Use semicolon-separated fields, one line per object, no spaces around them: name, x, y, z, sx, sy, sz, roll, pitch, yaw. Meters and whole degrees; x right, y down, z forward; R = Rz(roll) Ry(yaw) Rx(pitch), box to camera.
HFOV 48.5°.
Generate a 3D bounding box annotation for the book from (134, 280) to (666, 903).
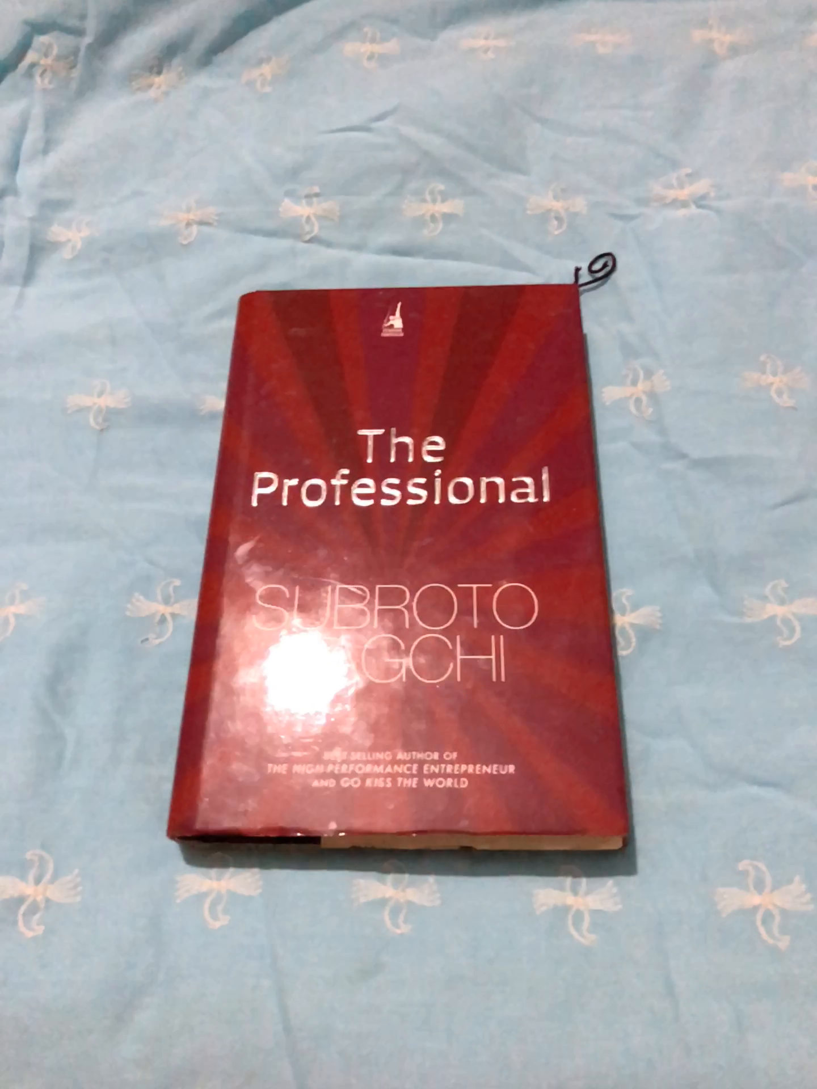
book;0.002;0.003;0.317;0.150;0.030;0.221;1;64;3
